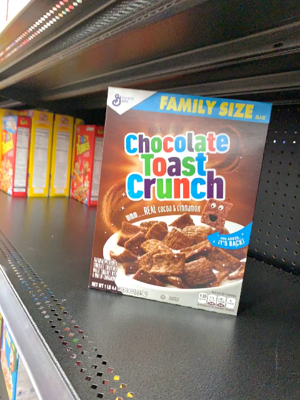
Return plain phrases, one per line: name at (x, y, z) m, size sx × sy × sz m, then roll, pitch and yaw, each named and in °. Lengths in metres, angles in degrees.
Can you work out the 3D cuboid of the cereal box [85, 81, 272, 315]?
cereal box at (0.035, -0.005, 0.489) m, size 0.240 × 0.319 × 0.070 m, roll 7°, pitch 9°, yaw 8°
